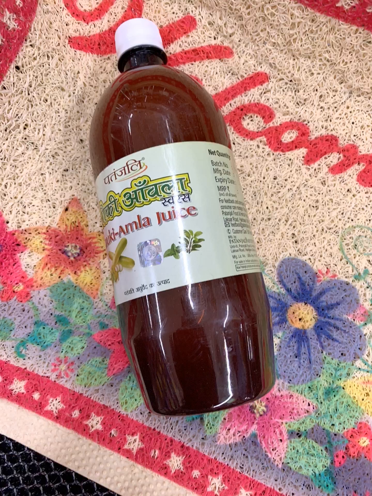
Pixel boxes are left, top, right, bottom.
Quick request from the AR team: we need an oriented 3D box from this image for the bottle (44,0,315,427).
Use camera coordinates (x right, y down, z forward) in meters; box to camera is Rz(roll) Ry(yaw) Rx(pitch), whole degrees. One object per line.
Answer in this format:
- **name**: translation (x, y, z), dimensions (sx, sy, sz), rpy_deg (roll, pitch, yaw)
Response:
- **bottle**: translation (-0.011, -0.041, 0.229), dimensions (0.080, 0.080, 0.250), rpy_deg (-2, 76, -44)
